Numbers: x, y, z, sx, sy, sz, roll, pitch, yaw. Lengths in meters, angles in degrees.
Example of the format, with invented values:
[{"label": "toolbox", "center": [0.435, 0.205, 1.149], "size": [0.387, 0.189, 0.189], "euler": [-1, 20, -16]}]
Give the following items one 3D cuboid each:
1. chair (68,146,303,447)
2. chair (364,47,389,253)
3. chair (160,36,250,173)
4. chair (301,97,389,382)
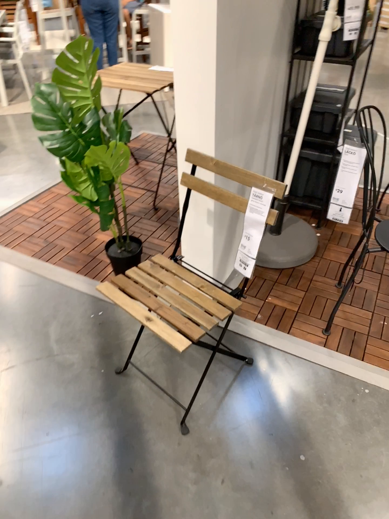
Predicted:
[{"label": "chair", "center": [-0.016, 0.104, 1.276], "size": [0.409, 0.721, 0.477], "euler": [30, 46, 33]}, {"label": "chair", "center": [1.310, -0.562, 2.039], "size": [0.378, 0.830, 0.549], "euler": [-13, 39, -17]}, {"label": "chair", "center": [0.055, -1.150, 2.953], "size": [0.506, 0.811, 0.501], "euler": [-8, 38, -10]}, {"label": "chair", "center": [0.777, -0.071, 1.435], "size": [0.557, 0.821, 0.400], "euler": [17, 40, 22]}]
